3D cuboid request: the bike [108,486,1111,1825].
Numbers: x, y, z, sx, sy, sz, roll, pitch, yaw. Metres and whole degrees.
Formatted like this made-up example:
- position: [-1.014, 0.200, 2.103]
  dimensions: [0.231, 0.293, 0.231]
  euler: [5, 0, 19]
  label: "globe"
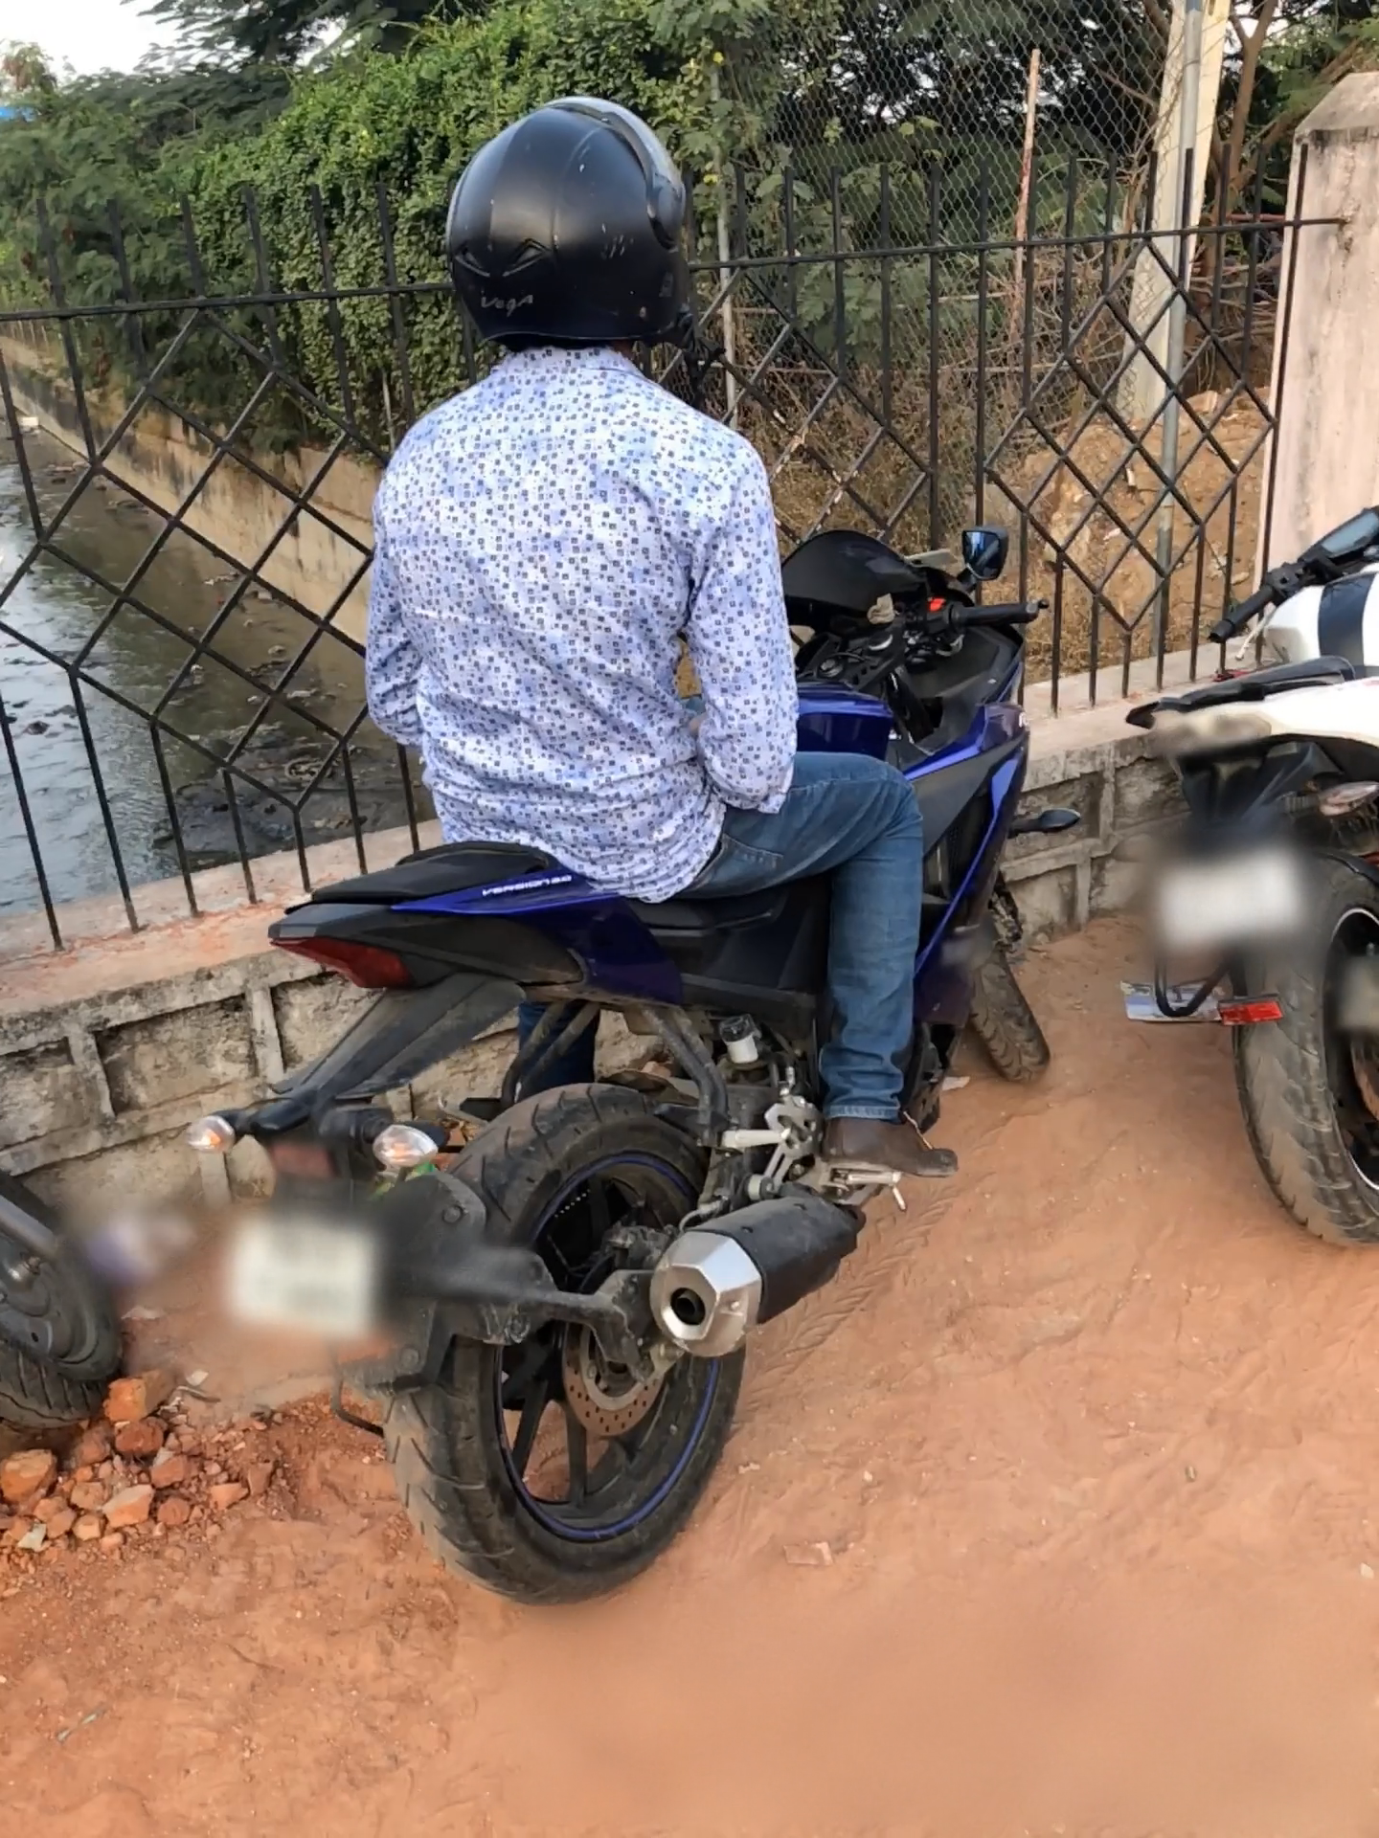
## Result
- position: [0.134, 0.035, 2.360]
  dimensions: [0.731, 0.994, 1.955]
  euler: [6, 28, 21]
  label: "bike"
